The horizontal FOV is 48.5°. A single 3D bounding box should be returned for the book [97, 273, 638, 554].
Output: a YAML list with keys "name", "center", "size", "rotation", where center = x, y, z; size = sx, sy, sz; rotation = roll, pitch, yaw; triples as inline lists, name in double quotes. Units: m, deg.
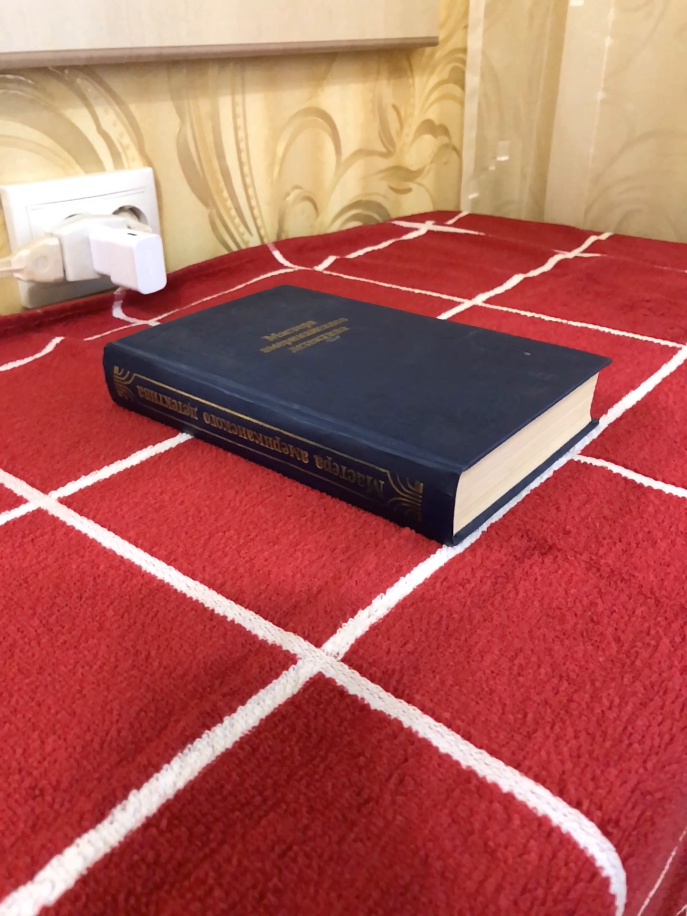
- name: "book"
  center: [0.009, -0.038, 0.346]
  size: [0.193, 0.030, 0.143]
  rotation: [21, 35, 33]
